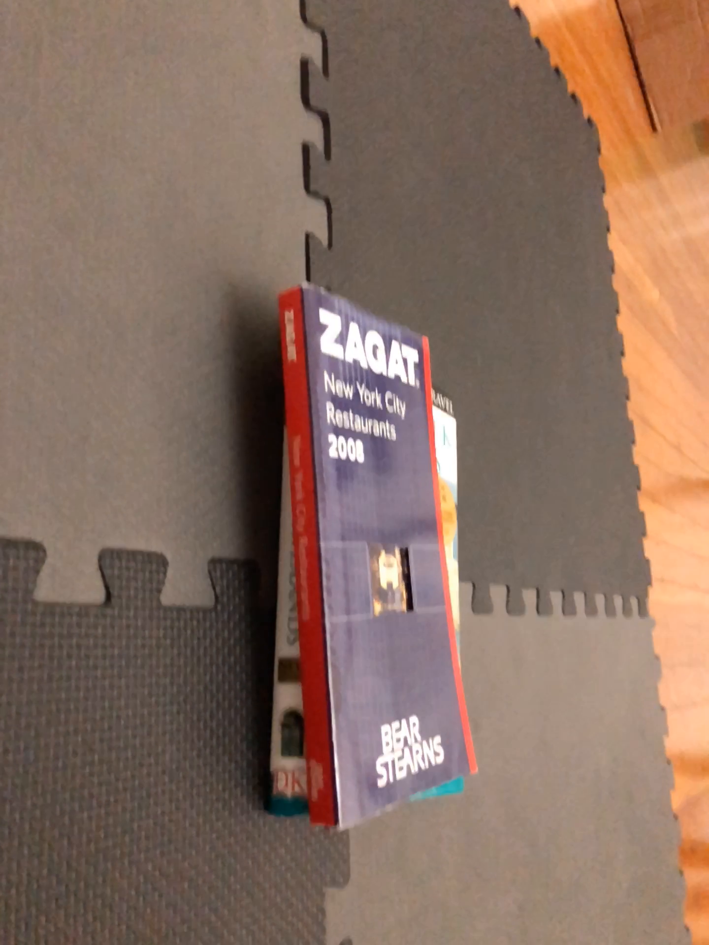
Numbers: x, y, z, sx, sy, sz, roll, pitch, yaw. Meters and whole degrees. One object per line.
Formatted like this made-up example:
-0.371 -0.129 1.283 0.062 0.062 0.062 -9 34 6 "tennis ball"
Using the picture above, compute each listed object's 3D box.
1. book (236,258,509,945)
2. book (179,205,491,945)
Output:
0.017 0.054 0.373 0.171 0.030 0.260 18 67 -53 "book"
0.000 0.036 0.321 0.151 0.020 0.250 4 78 -56 "book"
